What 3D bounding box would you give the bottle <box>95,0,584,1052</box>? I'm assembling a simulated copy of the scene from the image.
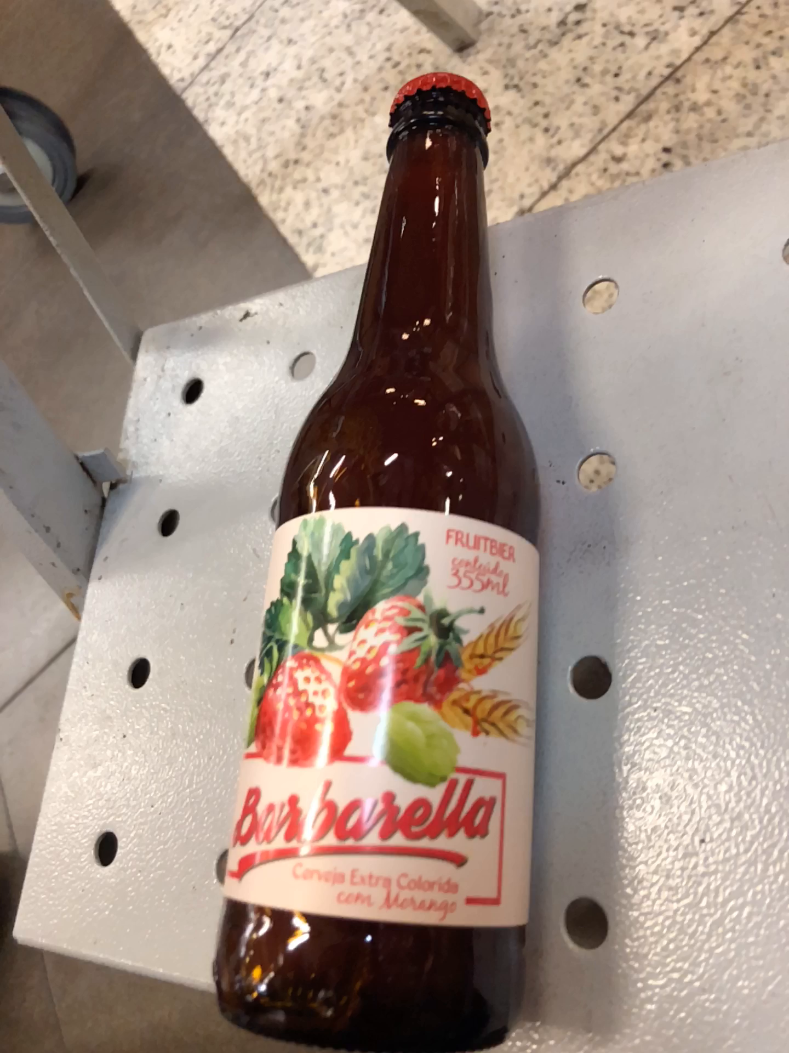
[{"bbox_3d":[-0.001,-0.016,0.207,0.070,0.060,0.240,-9,66,30],"label":"bottle"}]
